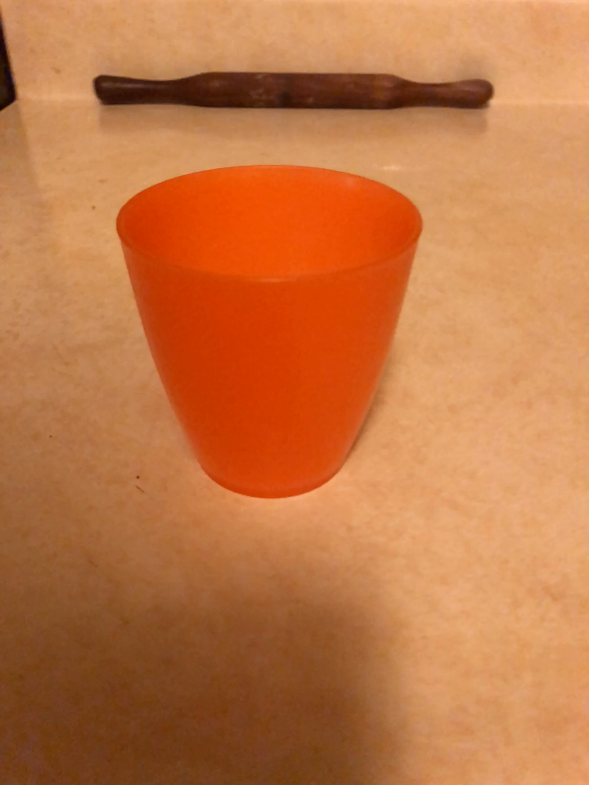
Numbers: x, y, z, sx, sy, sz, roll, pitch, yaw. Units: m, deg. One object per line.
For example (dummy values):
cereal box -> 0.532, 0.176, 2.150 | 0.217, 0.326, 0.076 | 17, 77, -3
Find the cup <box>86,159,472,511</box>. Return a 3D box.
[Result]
cup -> -0.004, -0.020, 0.189 | 0.080, 0.070, 0.080 | 0, 35, 0
